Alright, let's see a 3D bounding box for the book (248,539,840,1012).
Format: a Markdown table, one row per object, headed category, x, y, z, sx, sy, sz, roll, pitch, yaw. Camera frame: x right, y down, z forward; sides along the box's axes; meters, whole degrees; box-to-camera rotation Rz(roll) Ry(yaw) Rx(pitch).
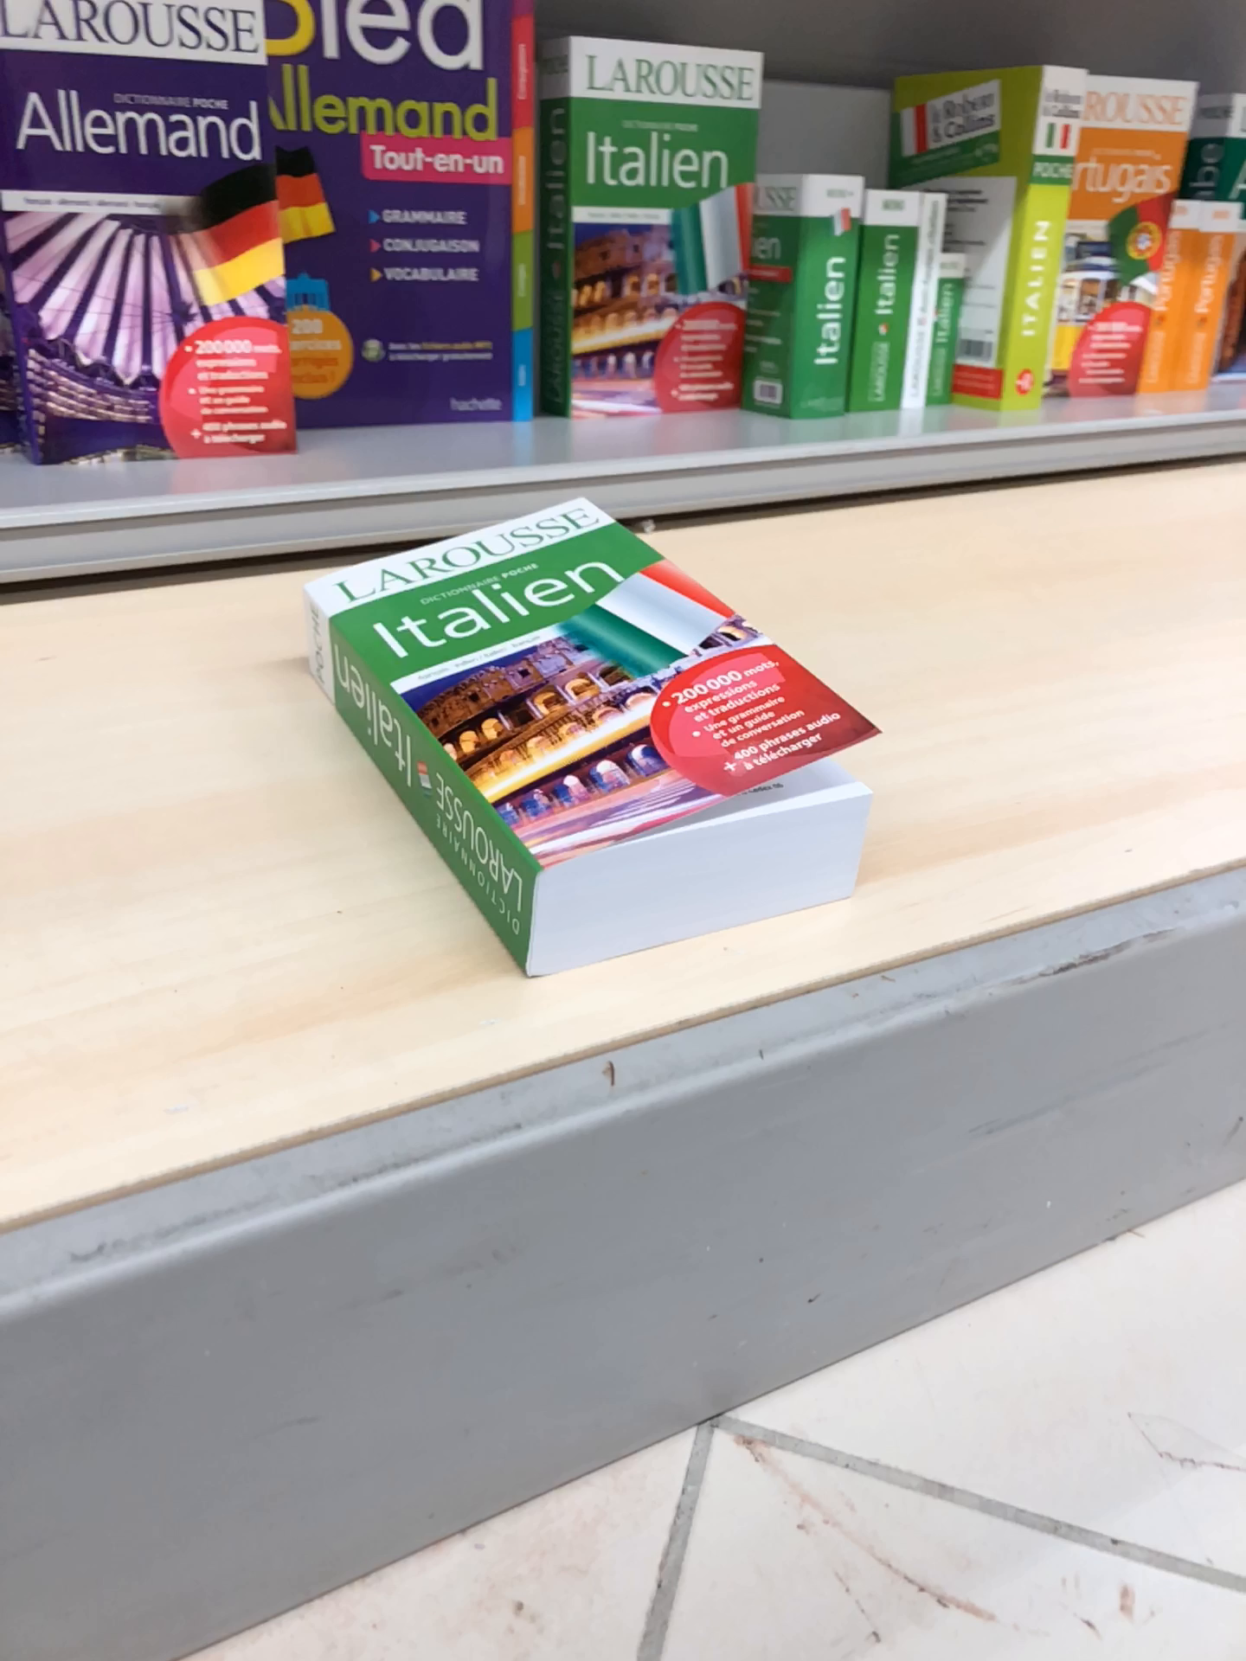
| category | x | y | z | sx | sy | sz | roll | pitch | yaw |
| --- | --- | --- | --- | --- | --- | --- | --- | --- | --- |
| book | -0.035 | -0.031 | 0.423 | 0.107 | 0.045 | 0.184 | -12 | 37 | -28 |
